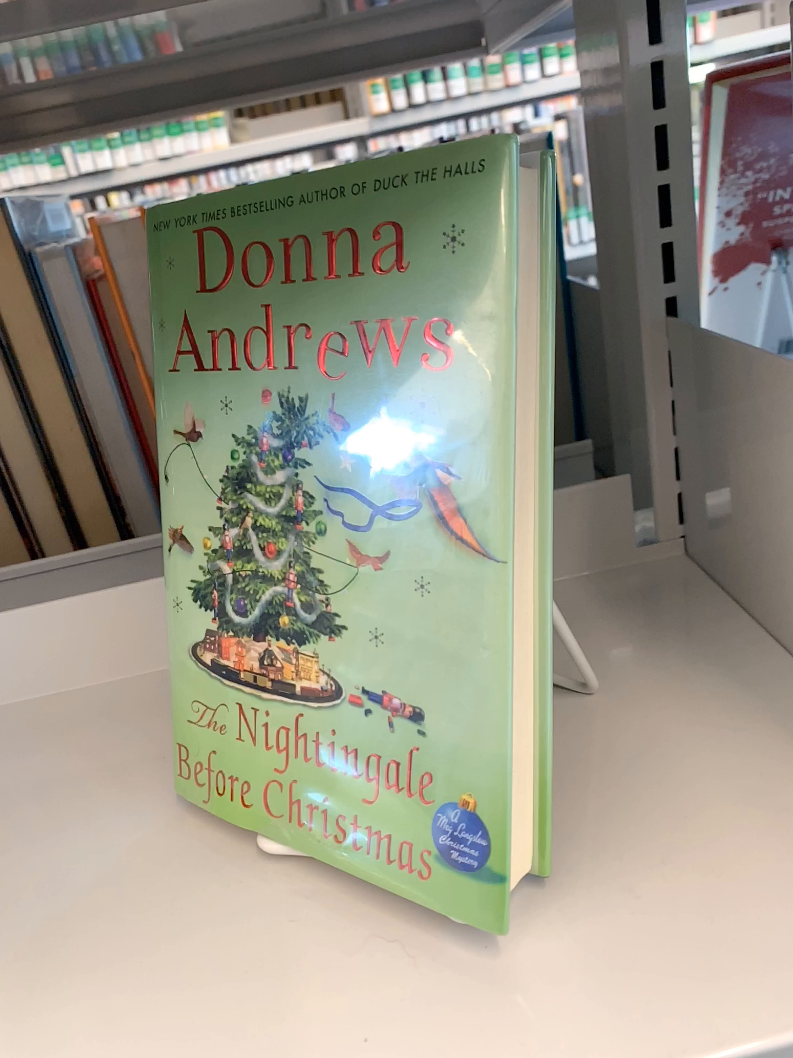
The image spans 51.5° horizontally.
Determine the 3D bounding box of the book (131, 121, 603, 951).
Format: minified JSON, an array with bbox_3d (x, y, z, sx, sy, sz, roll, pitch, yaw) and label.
[{"bbox_3d":[-0.017,-0.001,0.255,0.145,0.200,0.040,7,11,37],"label":"book"}]
